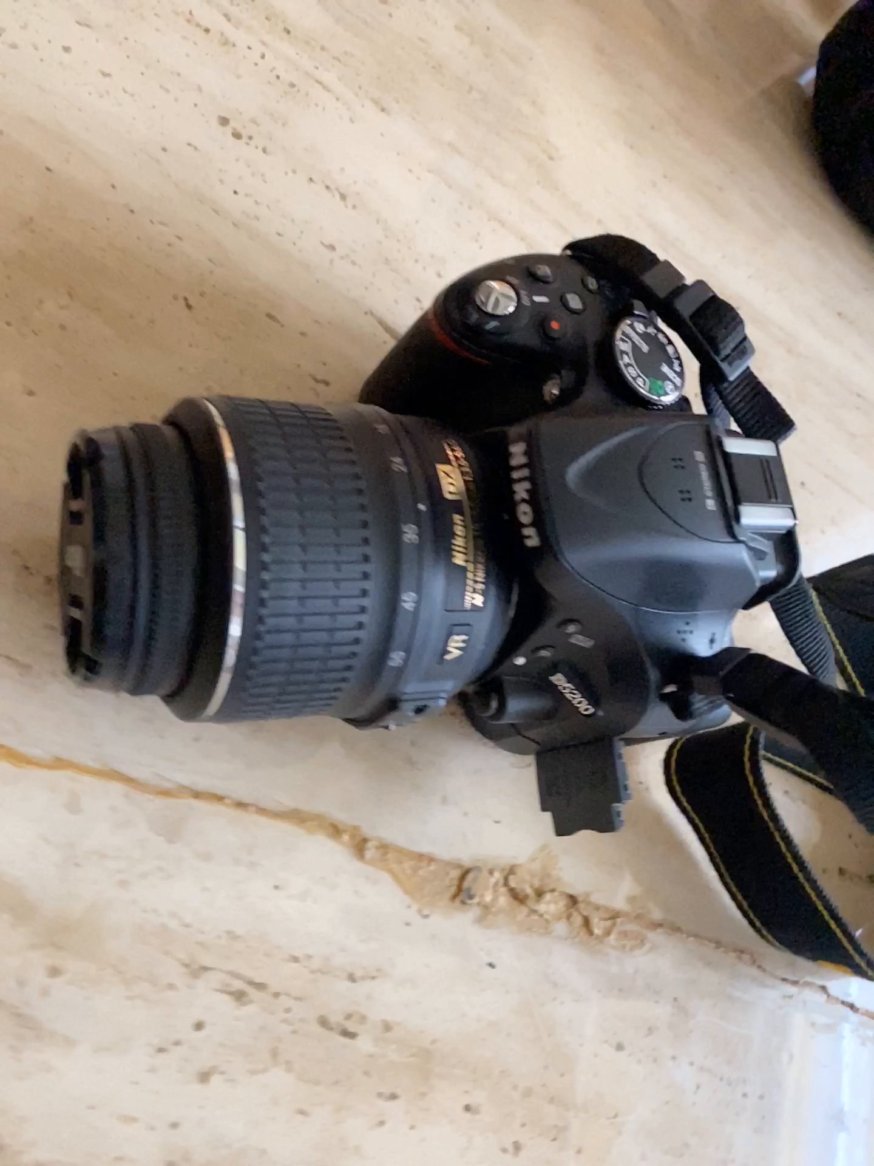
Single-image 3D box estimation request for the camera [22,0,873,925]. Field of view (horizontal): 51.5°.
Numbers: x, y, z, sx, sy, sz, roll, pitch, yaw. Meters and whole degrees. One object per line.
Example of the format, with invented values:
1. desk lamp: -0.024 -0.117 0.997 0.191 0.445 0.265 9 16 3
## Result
1. camera: 0.000 -0.016 0.213 0.160 0.100 0.152 0 73 -33
